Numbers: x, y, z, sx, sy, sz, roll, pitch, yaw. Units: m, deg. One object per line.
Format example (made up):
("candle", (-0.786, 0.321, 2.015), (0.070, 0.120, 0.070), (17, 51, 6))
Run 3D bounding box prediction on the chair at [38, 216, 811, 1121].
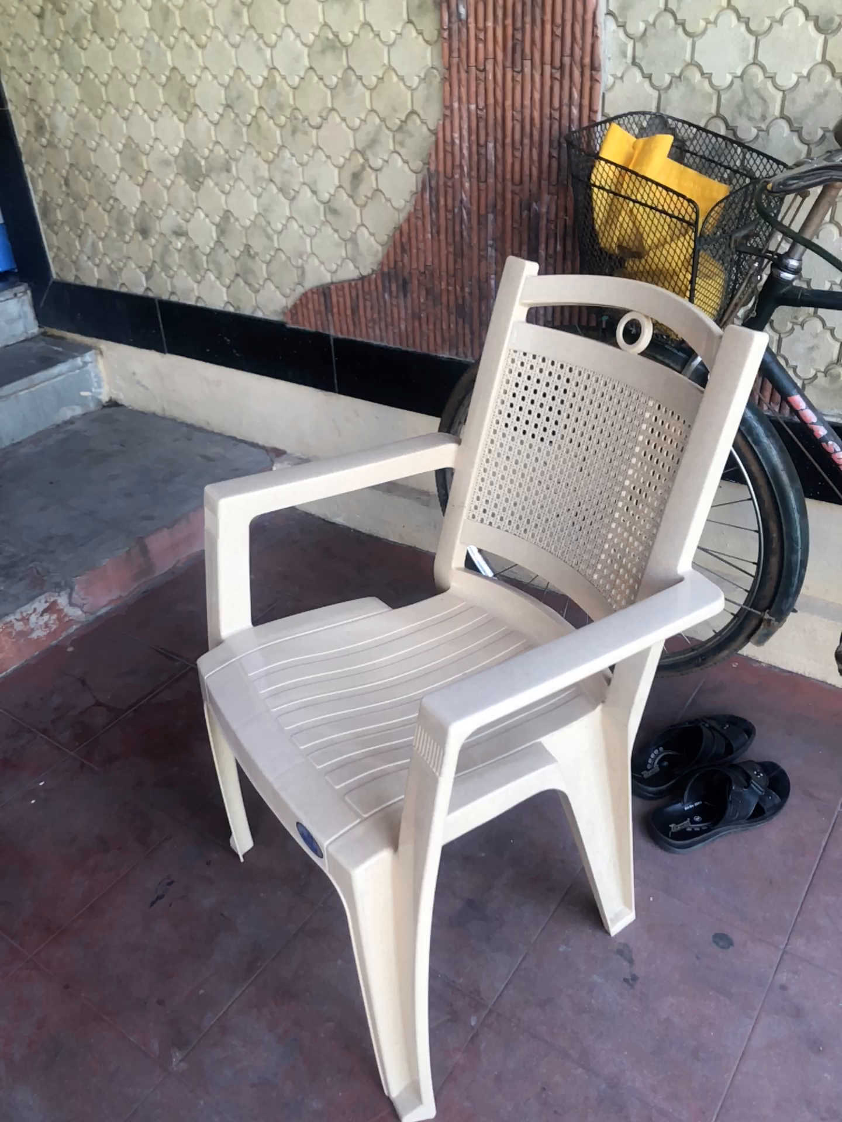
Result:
("chair", (-0.014, 0.092, 1.143), (0.552, 0.826, 0.591), (-20, 35, -25))
